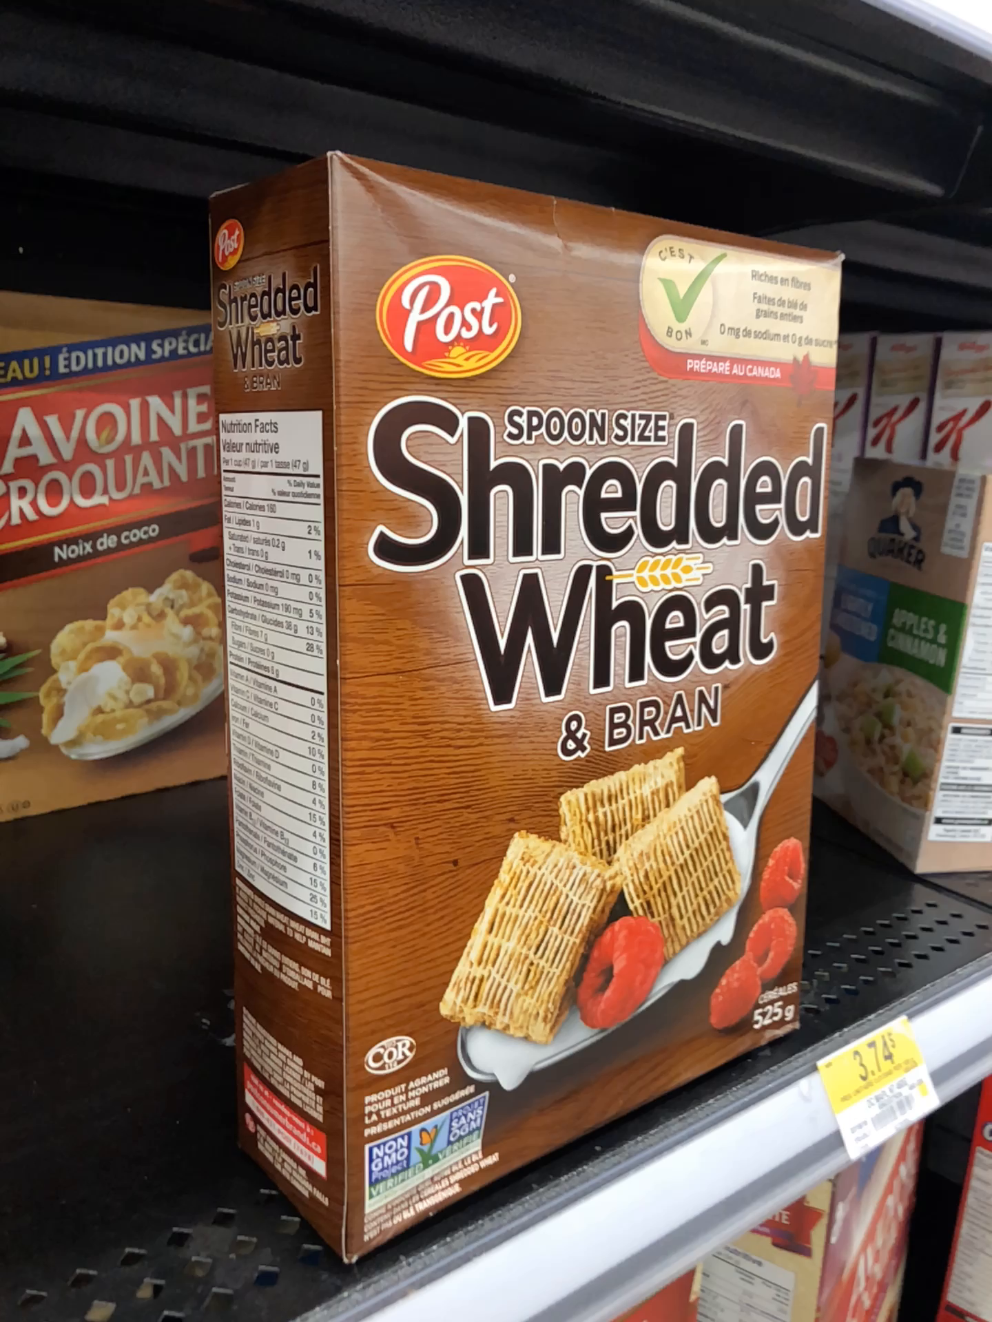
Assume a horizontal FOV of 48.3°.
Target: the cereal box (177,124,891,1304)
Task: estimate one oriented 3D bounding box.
[{"bbox_3d":[0.022,0.007,0.326,0.210,0.259,0.060,-8,13,-40],"label":"cereal box"}]
